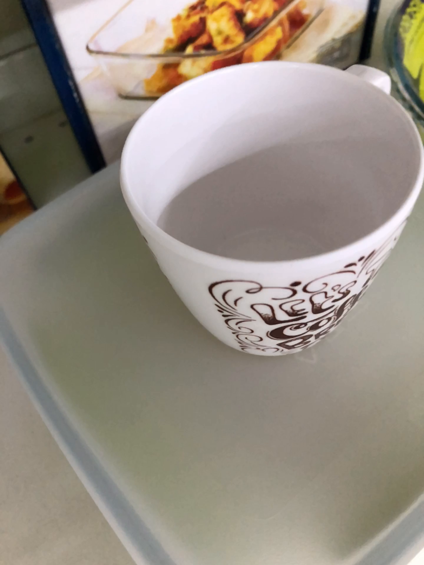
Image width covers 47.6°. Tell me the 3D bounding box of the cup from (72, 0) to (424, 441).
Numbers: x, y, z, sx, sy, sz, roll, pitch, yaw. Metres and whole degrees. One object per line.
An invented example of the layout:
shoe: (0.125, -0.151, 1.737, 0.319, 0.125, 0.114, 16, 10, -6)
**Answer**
cup: (0.029, -0.023, 0.147, 0.070, 0.070, 0.100, 37, 67, 27)
